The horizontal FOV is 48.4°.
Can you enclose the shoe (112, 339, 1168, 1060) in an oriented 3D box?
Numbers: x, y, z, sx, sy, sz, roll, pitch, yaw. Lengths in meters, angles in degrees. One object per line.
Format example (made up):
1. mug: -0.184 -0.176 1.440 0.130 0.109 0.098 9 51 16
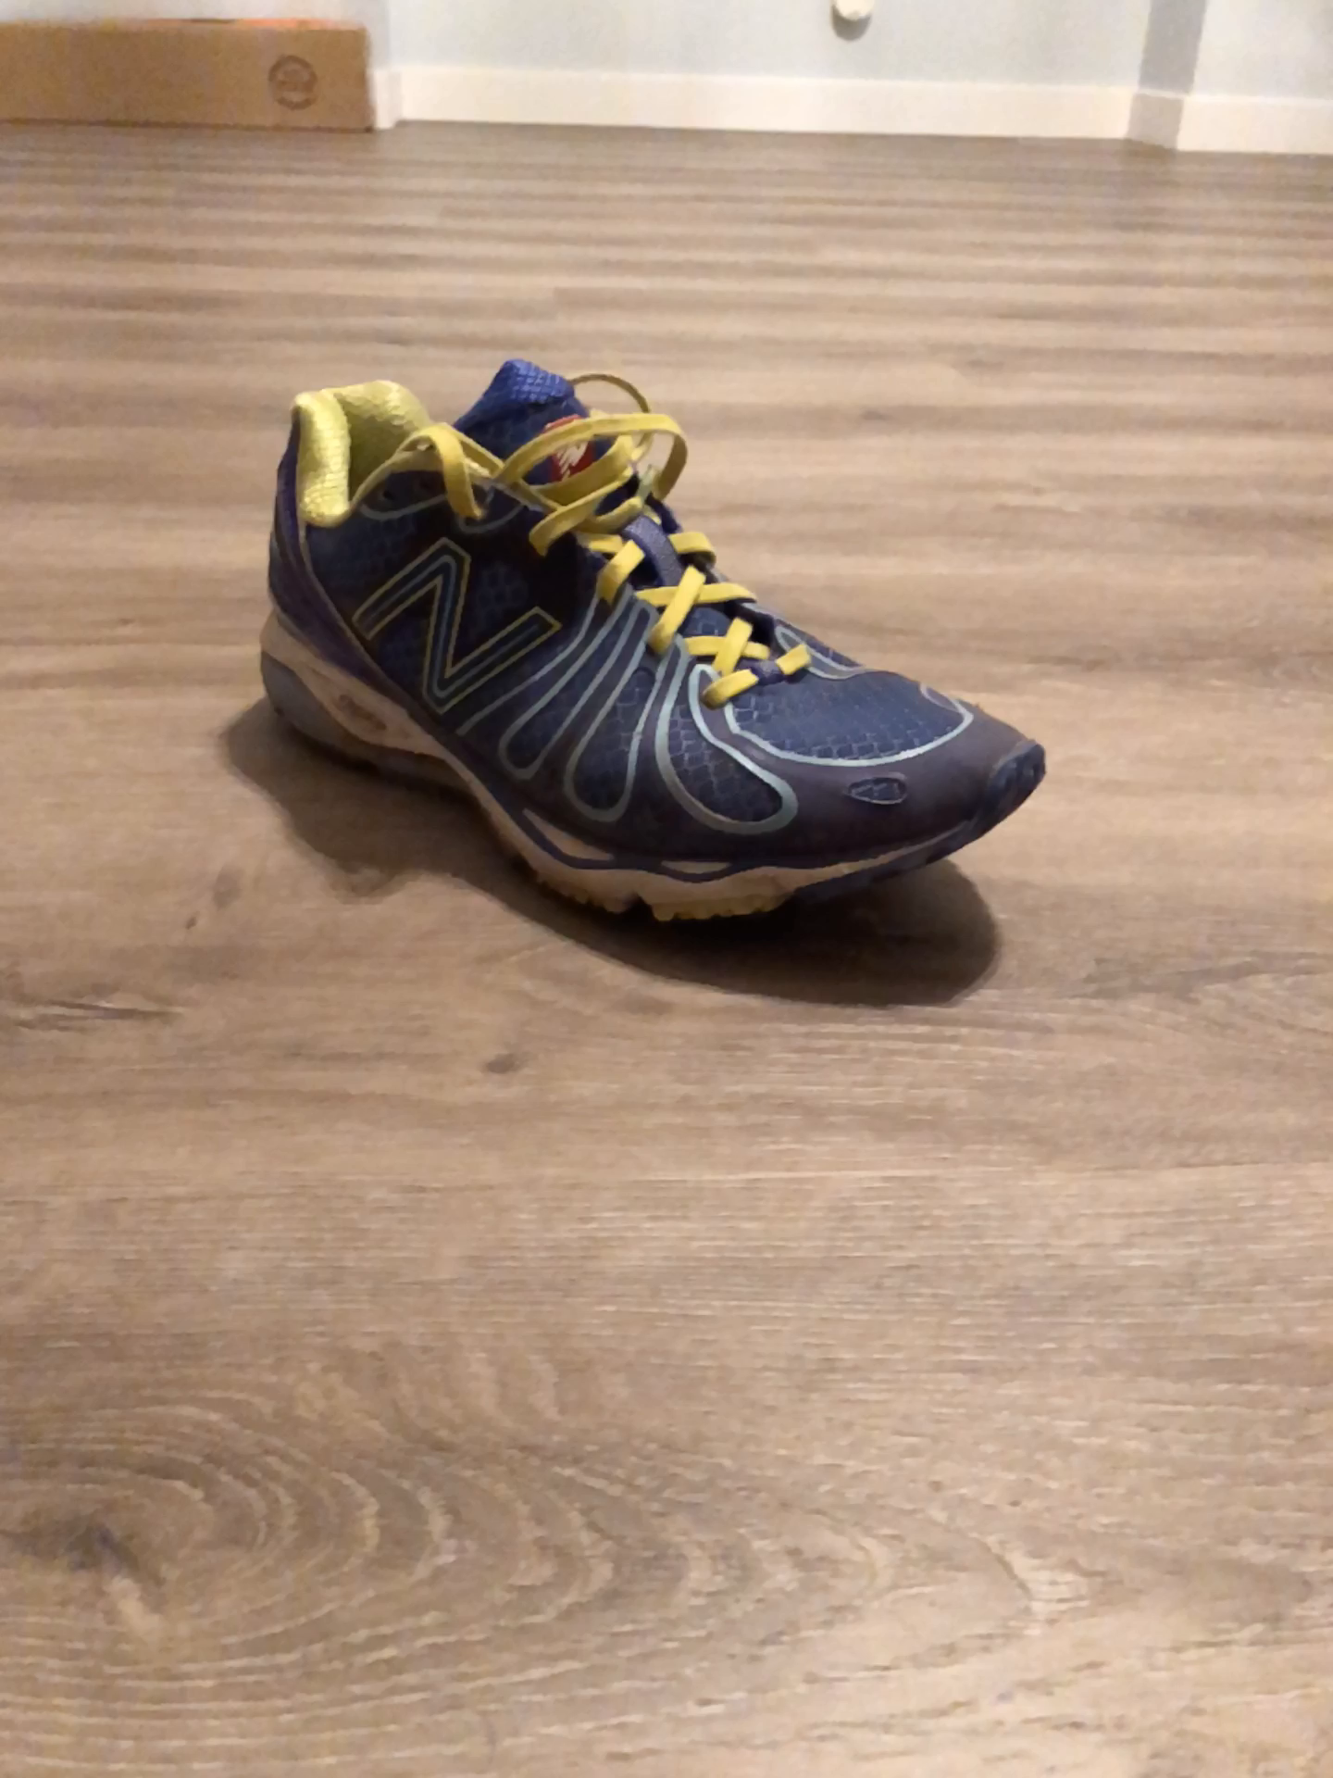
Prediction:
1. shoe: -0.018 -0.070 0.393 0.250 0.099 0.110 23 36 32
